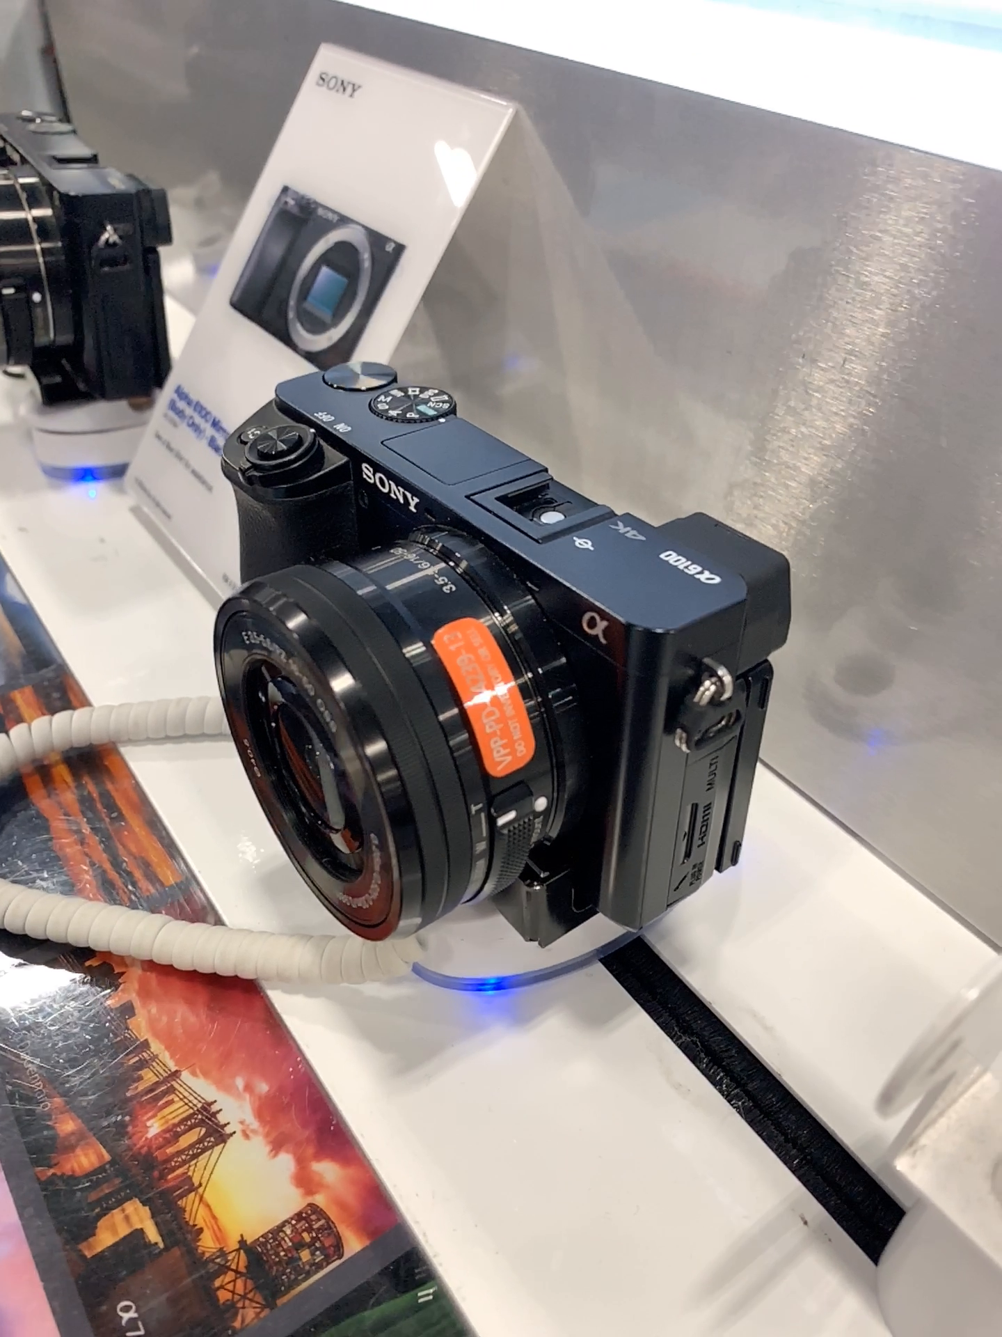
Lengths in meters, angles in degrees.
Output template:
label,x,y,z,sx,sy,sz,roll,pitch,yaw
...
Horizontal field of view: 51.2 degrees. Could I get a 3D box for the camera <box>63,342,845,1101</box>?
label,x,y,z,sx,sy,sz,roll,pitch,yaw
camera,-0.014,-0.001,0.198,0.070,0.070,0.121,-31,49,-32
